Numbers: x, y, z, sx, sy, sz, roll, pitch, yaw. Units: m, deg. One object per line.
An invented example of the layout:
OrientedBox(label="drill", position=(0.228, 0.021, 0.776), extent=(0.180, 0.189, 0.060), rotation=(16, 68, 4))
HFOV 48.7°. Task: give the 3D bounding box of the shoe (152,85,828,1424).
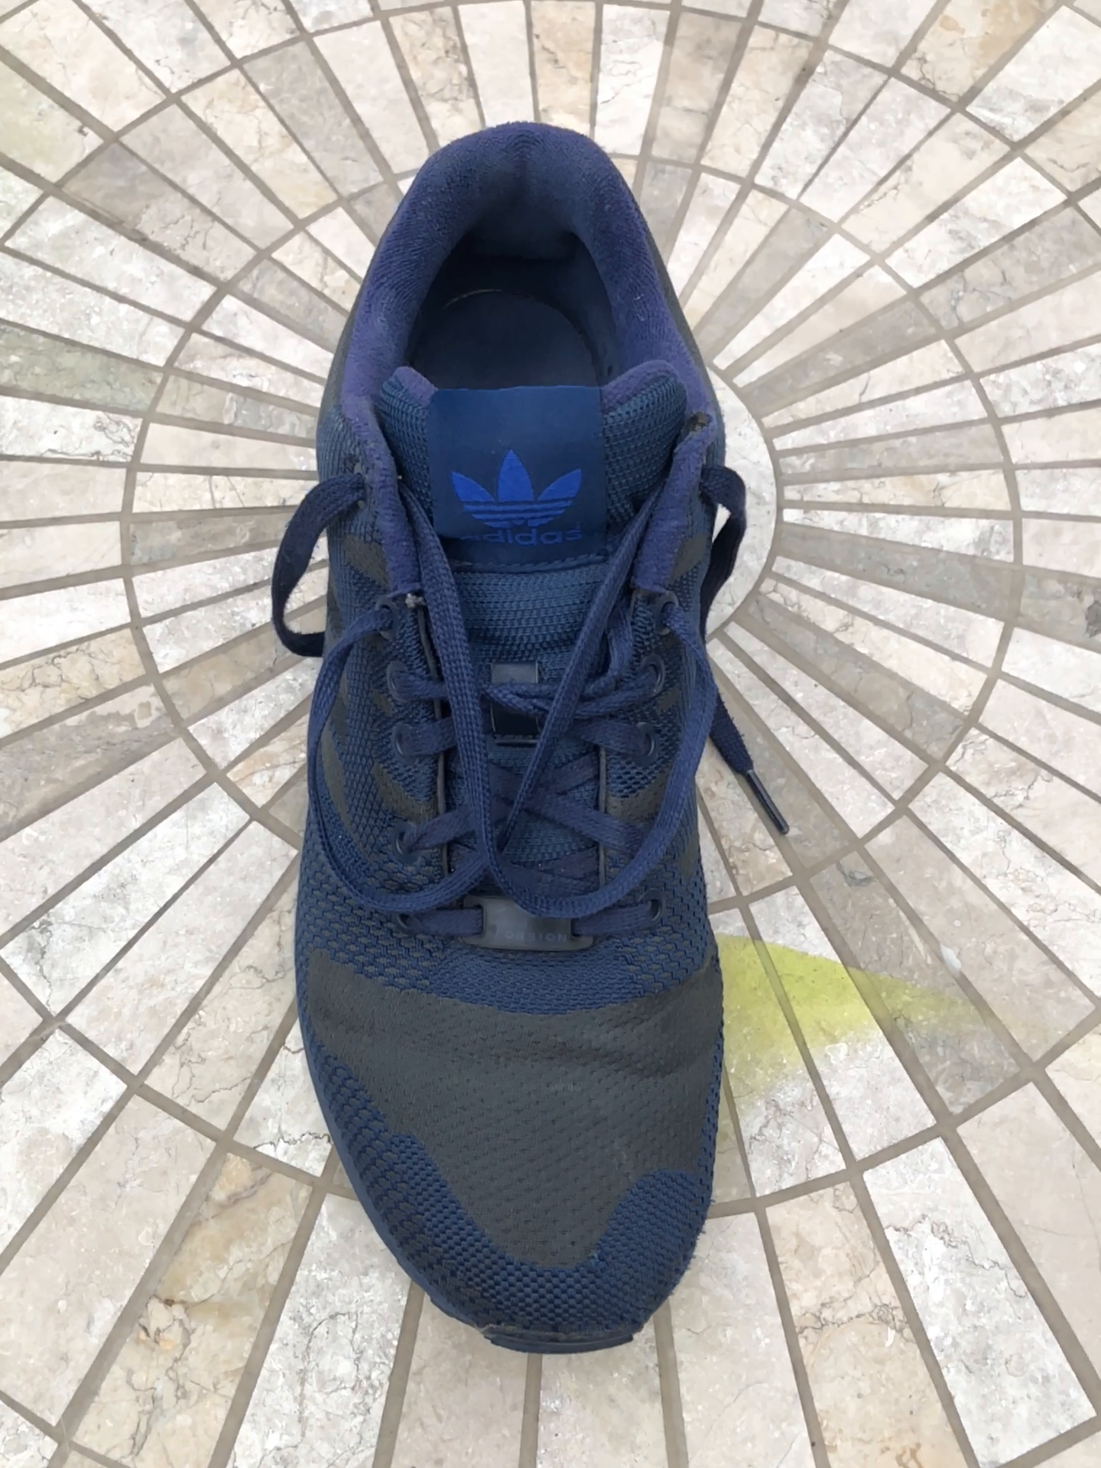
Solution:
OrientedBox(label="shoe", position=(-0.012, -0.004, 0.296), extent=(0.110, 0.110, 0.281), rotation=(0, 71, -1))
